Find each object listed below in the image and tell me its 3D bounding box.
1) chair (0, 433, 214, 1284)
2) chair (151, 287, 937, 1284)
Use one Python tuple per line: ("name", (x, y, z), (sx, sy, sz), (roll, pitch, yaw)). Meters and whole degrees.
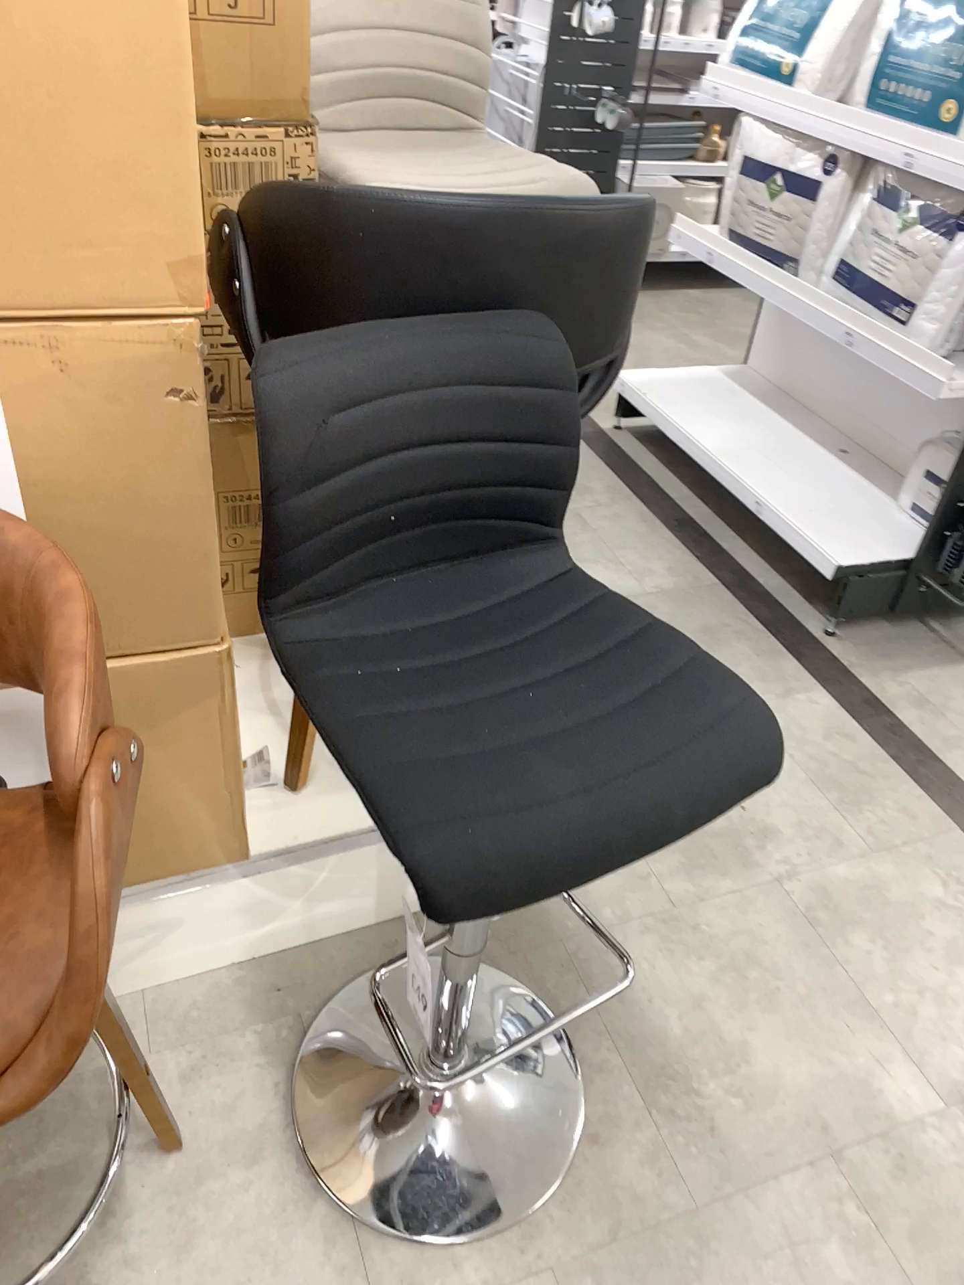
("chair", (-0.557, 0.329, 0.915), (0.524, 0.875, 0.523), (-1, 37, -11))
("chair", (-0.016, 0.203, 1.090), (0.455, 0.994, 0.471), (-17, 43, -30))
